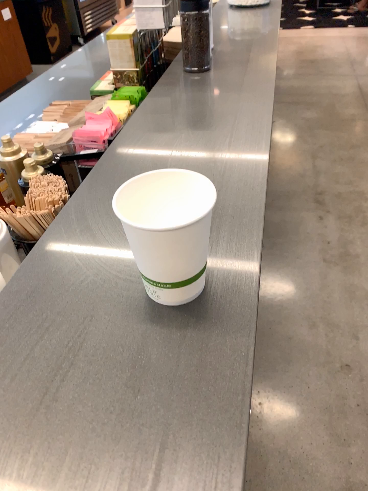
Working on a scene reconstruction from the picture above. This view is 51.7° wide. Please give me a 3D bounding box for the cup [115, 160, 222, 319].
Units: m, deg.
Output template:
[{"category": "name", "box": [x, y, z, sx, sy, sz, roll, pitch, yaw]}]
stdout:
[{"category": "cup", "box": [-0.009, -0.004, 0.352, 0.080, 0.119, 0.080, -3, 41, 2]}]
